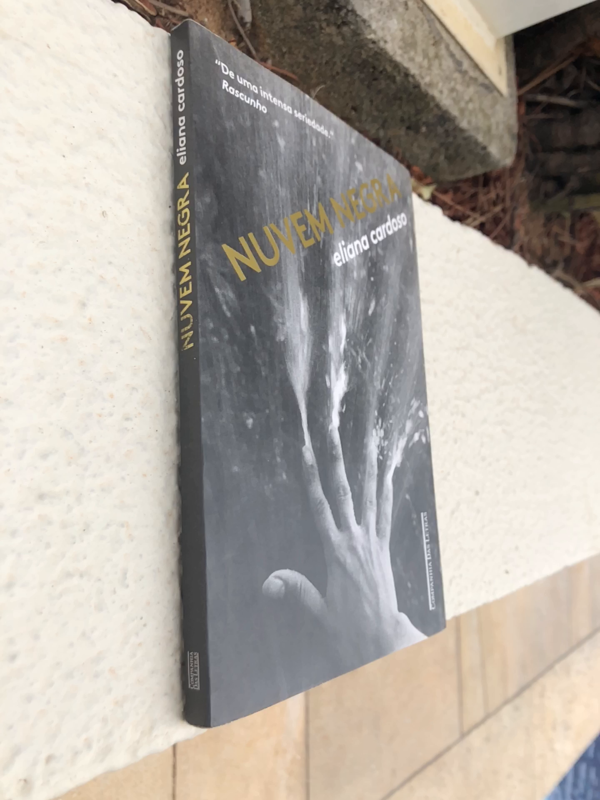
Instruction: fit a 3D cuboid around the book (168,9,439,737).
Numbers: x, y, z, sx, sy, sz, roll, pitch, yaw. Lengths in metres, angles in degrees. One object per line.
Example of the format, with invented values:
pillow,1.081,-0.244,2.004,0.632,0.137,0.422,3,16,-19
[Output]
book,0.010,-0.008,0.243,0.141,0.013,0.200,8,78,-54
